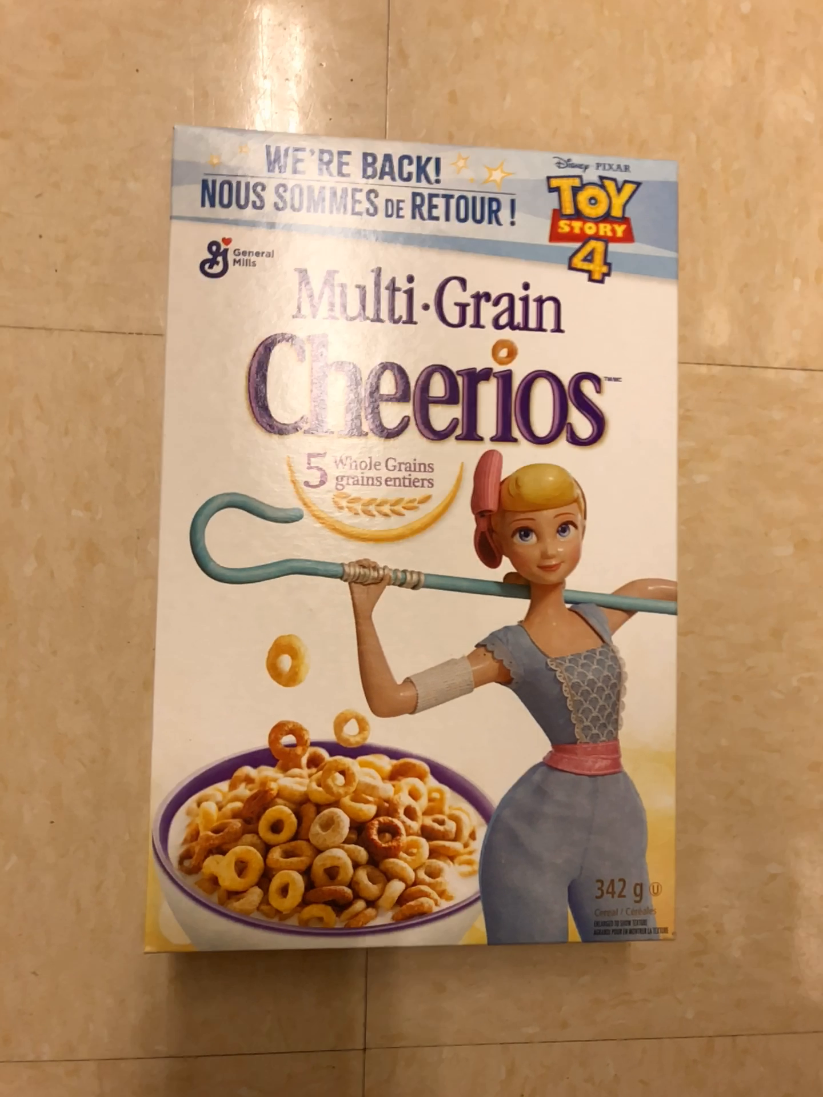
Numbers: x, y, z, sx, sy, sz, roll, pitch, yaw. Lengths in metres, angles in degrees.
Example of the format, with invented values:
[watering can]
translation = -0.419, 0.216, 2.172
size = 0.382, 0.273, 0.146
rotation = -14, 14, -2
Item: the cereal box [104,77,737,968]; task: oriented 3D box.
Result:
[cereal box]
translation = 0.005, -0.009, 0.341
size = 0.210, 0.070, 0.290
rotation = 1, 87, -6
